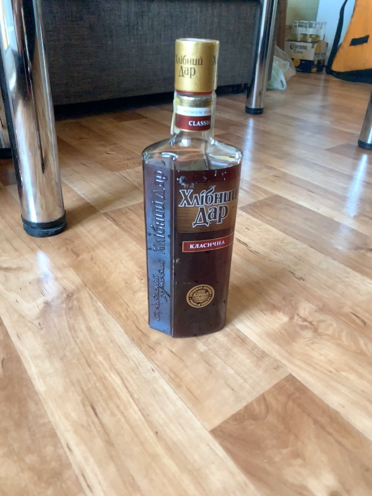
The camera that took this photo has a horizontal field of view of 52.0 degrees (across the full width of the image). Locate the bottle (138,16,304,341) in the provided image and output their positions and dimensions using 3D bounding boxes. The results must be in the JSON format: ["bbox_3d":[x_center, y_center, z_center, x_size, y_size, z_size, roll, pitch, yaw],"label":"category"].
[{"bbox_3d":[0.017,-0.035,0.290,0.090,0.239,0.050,1,32,0],"label":"bottle"}]
